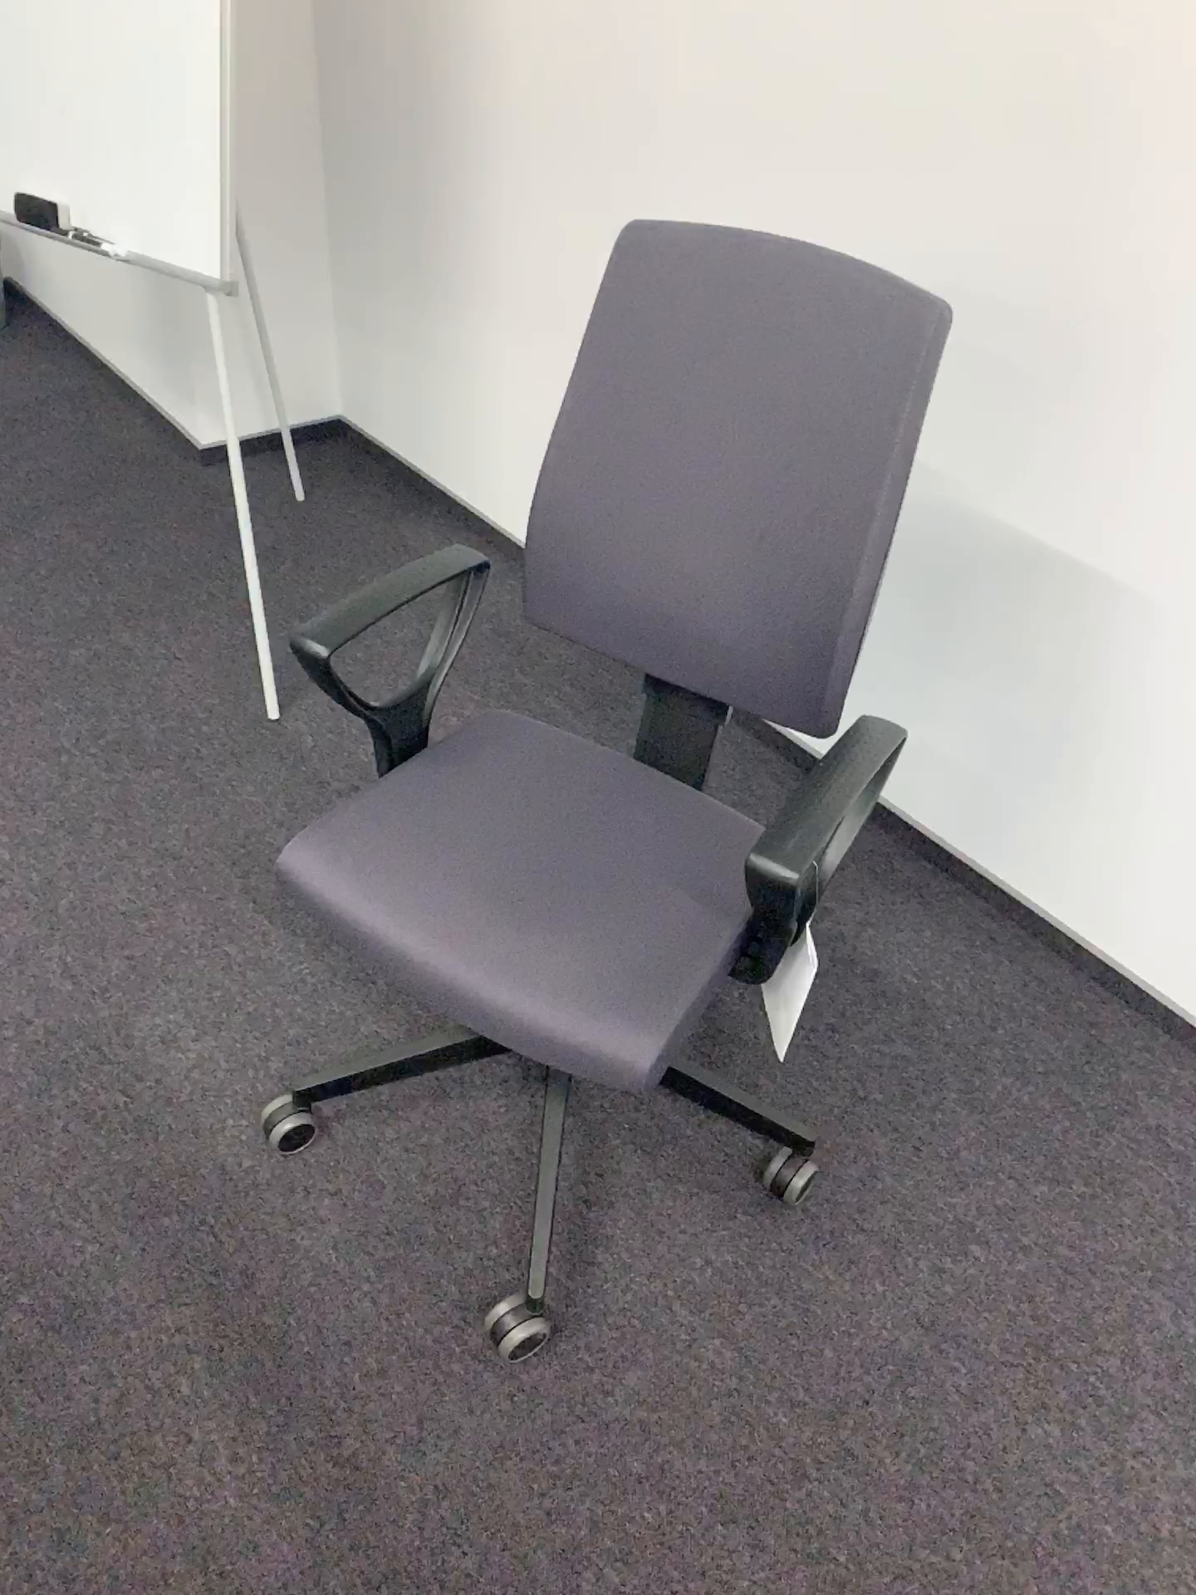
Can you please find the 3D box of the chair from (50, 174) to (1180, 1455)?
[{"bbox_3d":[0.019,-0.028,1.401,0.701,1.034,0.783,27,41,22],"label":"chair"}]
